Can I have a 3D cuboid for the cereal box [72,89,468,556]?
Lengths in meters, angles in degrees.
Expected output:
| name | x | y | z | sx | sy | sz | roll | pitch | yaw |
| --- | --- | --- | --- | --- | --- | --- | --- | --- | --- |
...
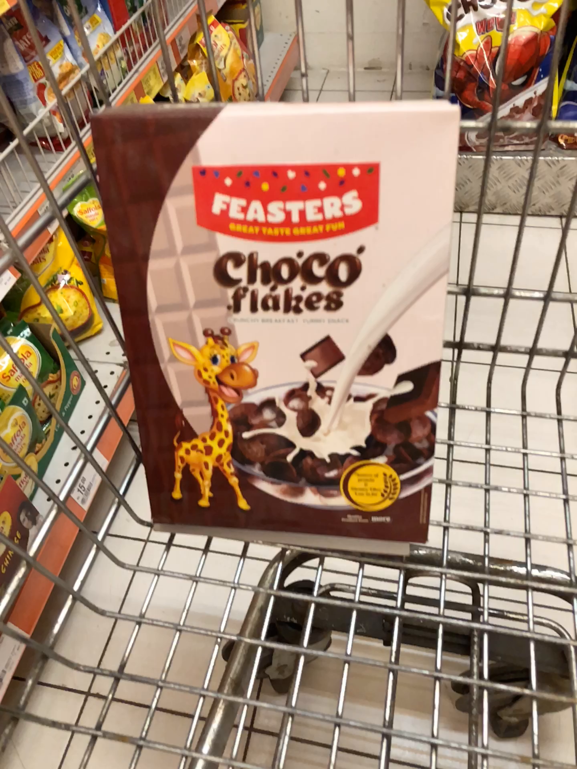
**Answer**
| name | x | y | z | sx | sy | sz | roll | pitch | yaw |
| --- | --- | --- | --- | --- | --- | --- | --- | --- | --- |
| cereal box | -0.002 | -0.028 | 0.351 | 0.170 | 0.239 | 0.070 | 1 | 25 | 7 |
